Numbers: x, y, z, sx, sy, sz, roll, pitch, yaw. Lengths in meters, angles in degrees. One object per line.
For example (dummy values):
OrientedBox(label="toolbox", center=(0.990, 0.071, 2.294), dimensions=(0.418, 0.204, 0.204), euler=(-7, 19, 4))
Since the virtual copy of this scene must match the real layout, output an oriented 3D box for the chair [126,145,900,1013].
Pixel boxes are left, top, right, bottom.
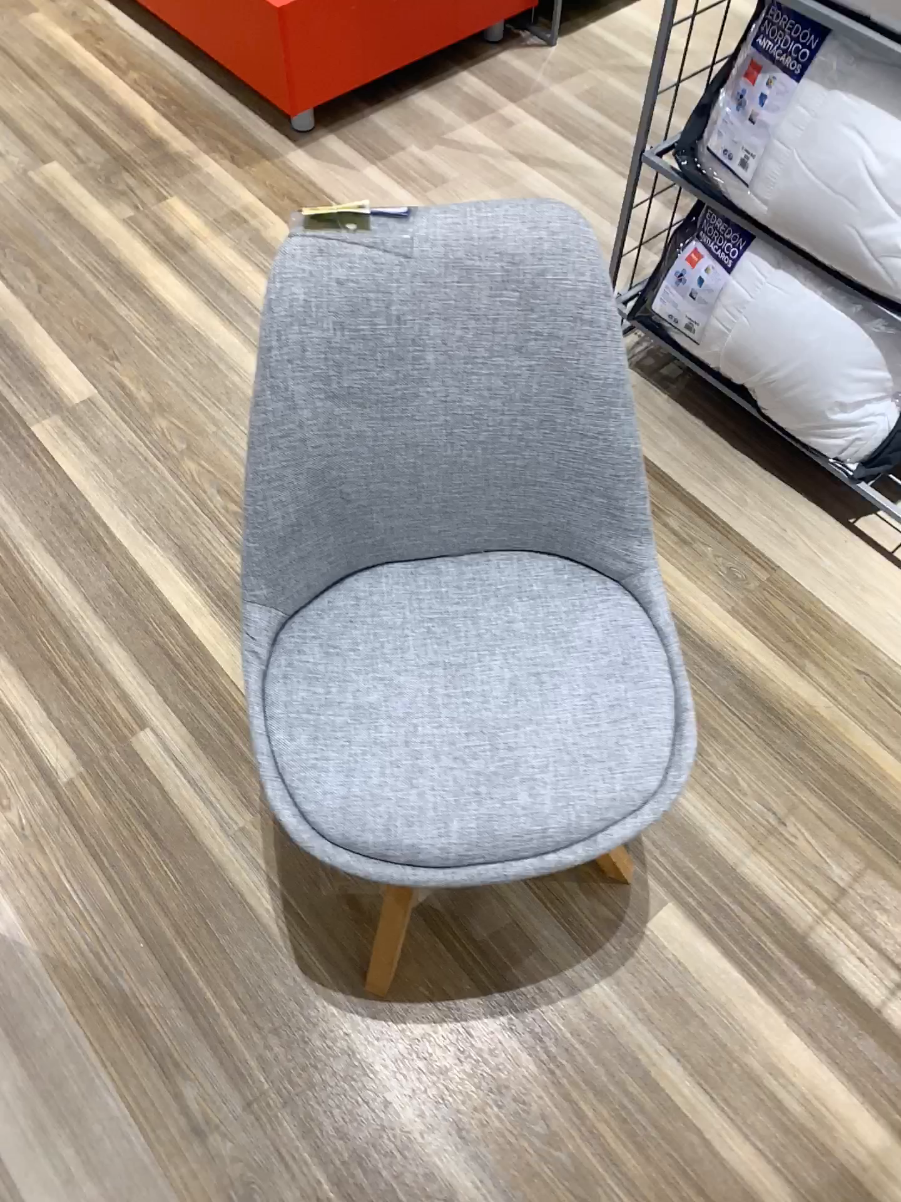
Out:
OrientedBox(label="chair", center=(0.034, 0.073, 1.010), dimensions=(0.513, 0.857, 0.517), euler=(-7, 59, -5))
